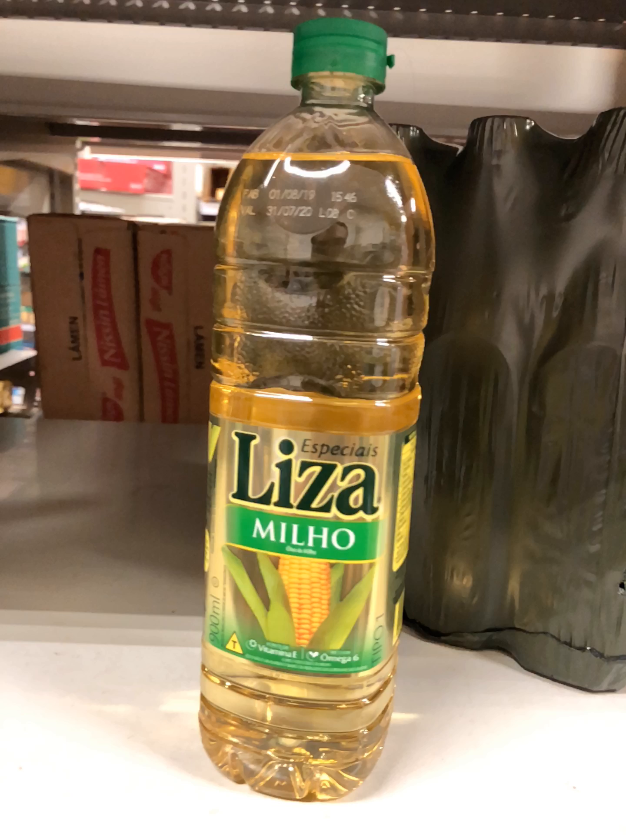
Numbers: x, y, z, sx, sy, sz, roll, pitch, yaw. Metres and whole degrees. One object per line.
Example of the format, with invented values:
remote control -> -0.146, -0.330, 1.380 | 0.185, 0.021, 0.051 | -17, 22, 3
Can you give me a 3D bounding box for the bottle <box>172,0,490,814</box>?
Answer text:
bottle -> 0.005, -0.005, 0.235 | 0.080, 0.249, 0.070 | 4, 13, 9
